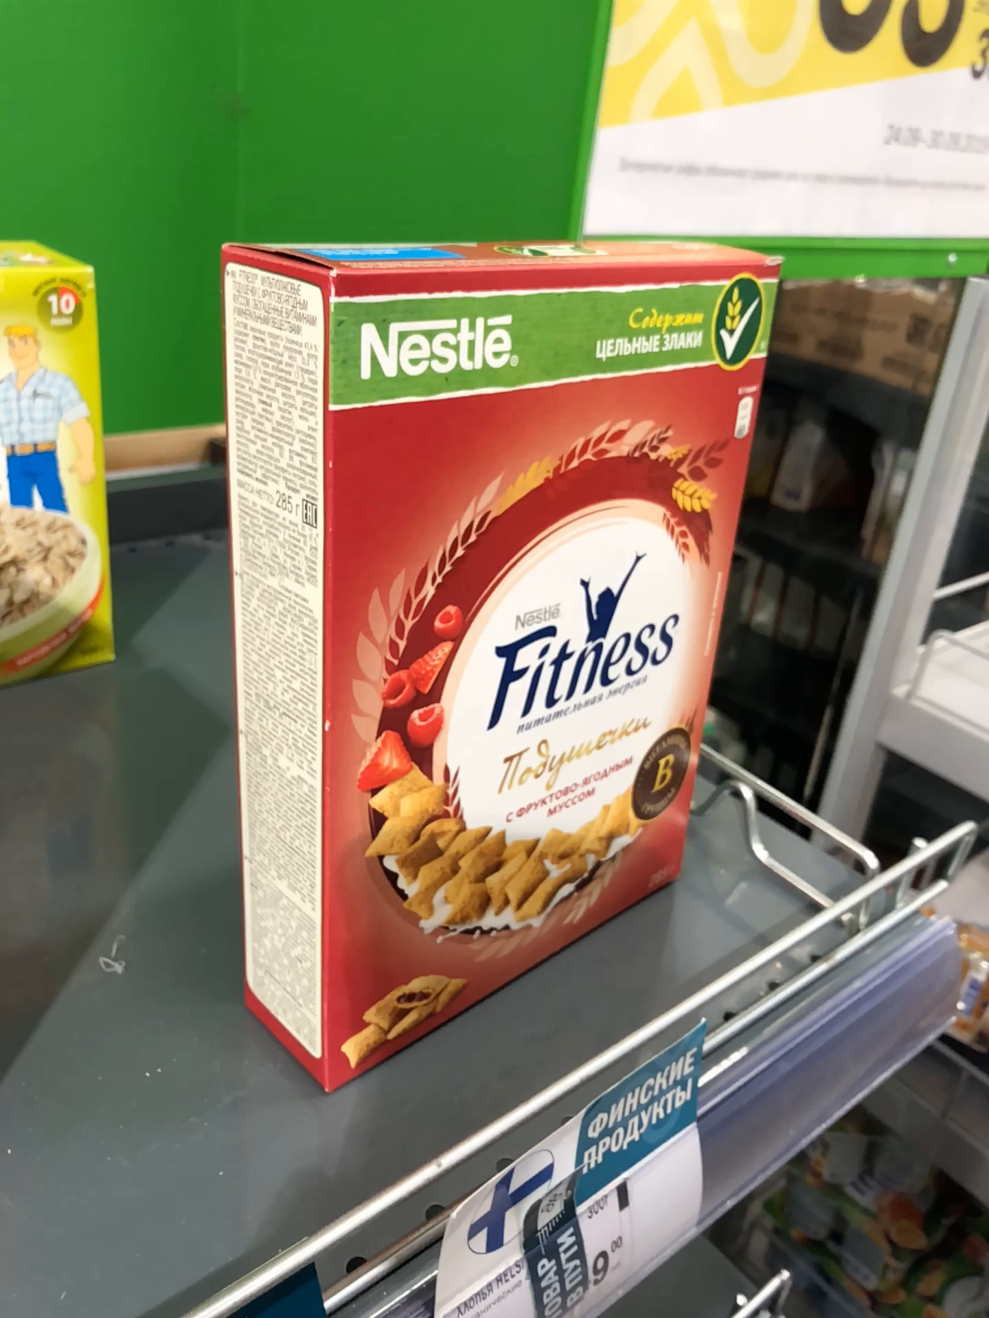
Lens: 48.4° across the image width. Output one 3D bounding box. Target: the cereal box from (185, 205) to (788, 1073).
[{"bbox_3d":[0.000,-0.017,0.377,0.191,0.249,0.060,-19,33,-41],"label":"cereal box"}]
